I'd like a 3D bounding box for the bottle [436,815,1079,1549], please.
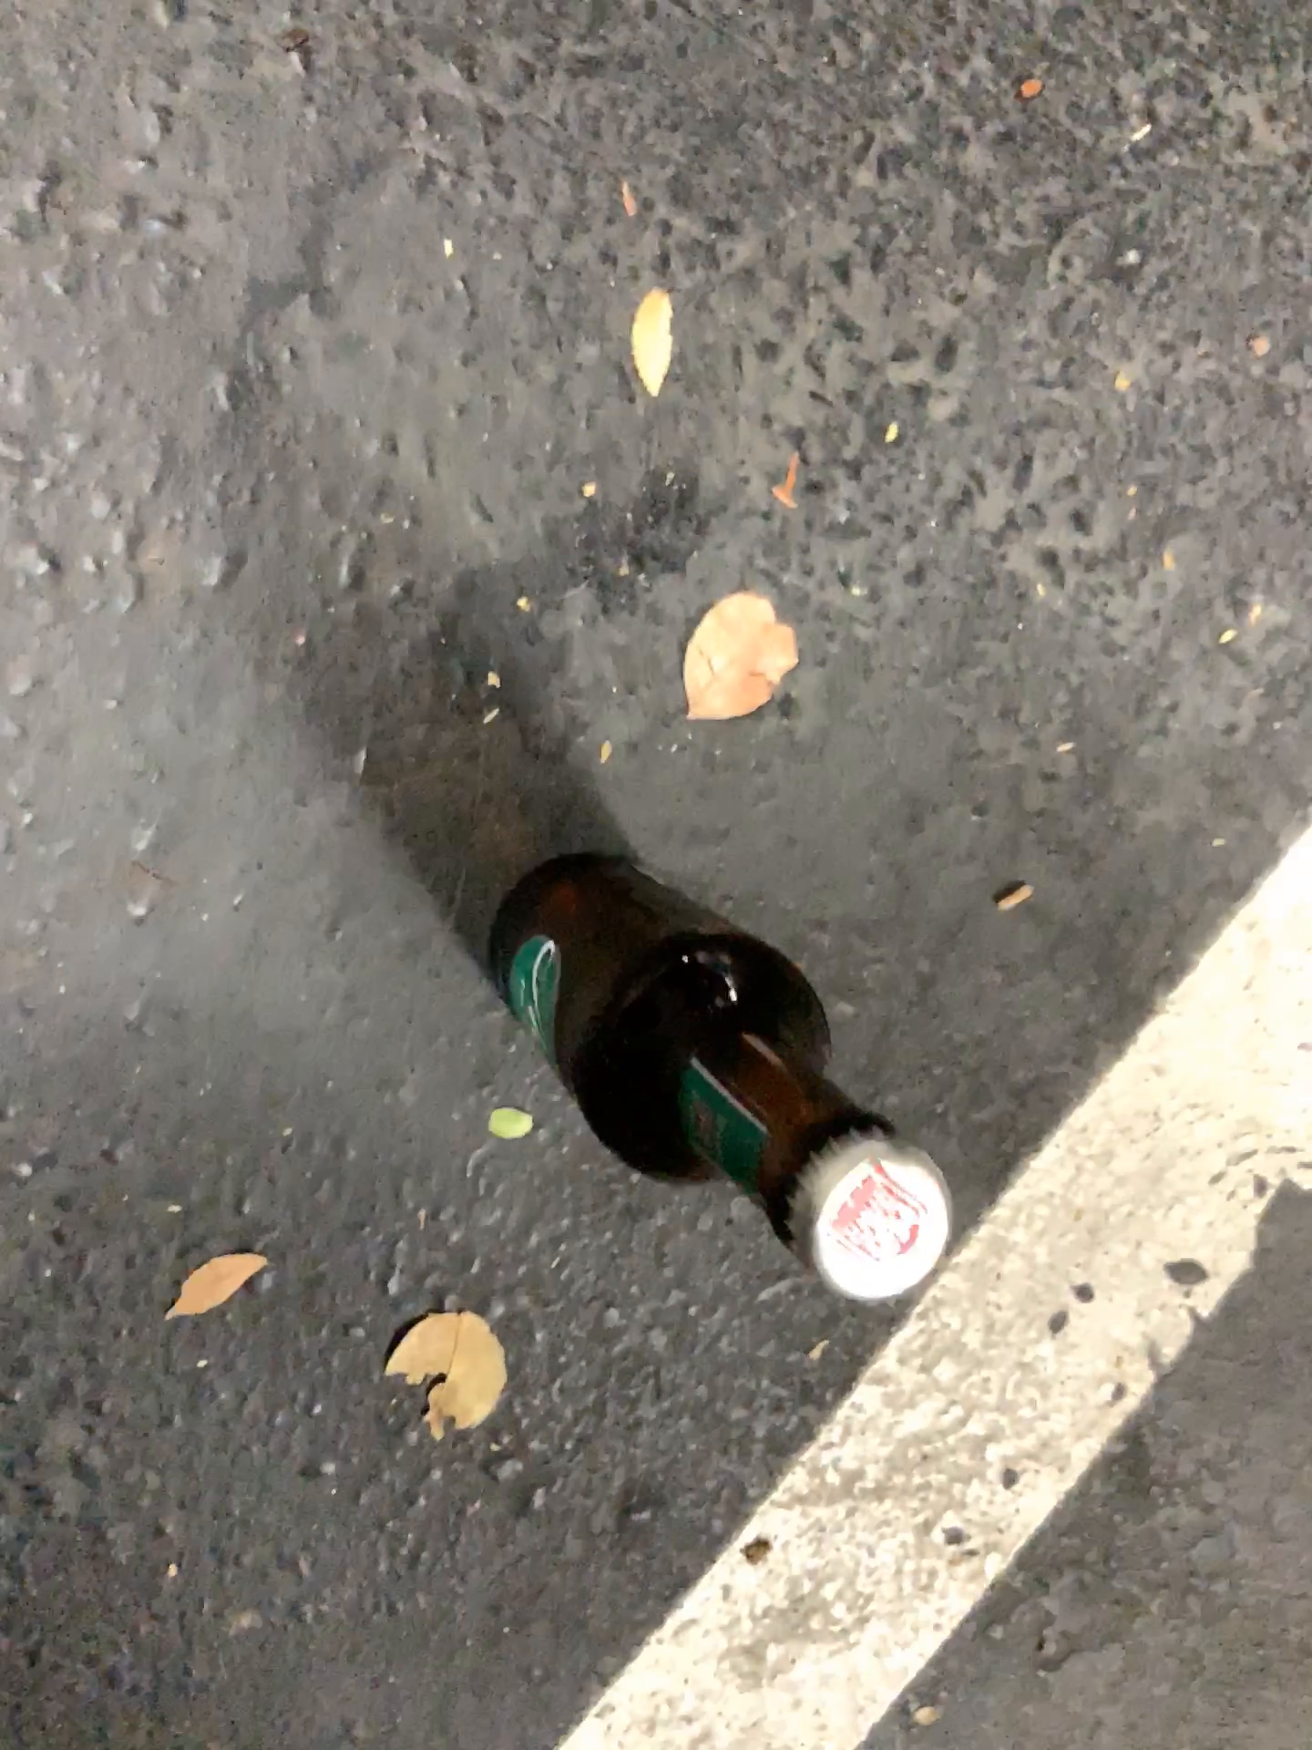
[{"bbox_3d":[0.005,0.047,0.338,0.070,0.210,0.070,-3,102,-14],"label":"bottle"}]
